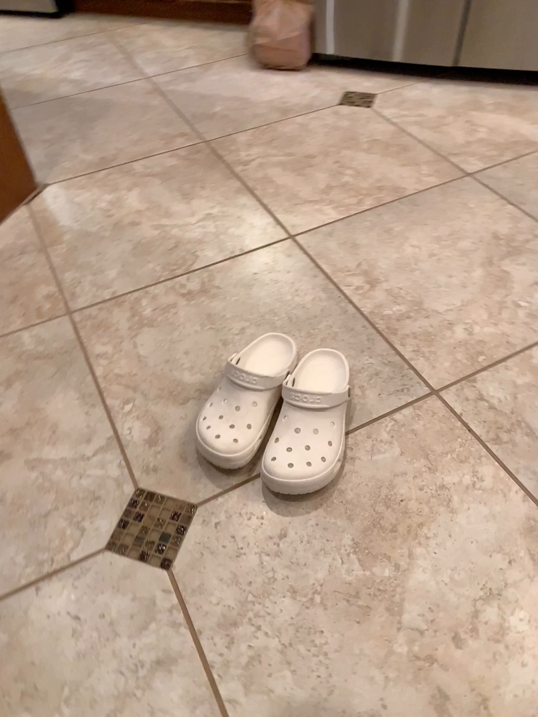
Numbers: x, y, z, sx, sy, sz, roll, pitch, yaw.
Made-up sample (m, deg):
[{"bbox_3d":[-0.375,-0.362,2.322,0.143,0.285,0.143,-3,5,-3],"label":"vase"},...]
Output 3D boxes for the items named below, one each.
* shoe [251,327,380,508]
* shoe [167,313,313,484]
[{"bbox_3d":[0.078,0.080,0.840,0.119,0.073,0.262,14,51,15],"label":"shoe"},{"bbox_3d":[-0.036,0.053,0.884,0.129,0.073,0.261,17,51,17],"label":"shoe"}]
